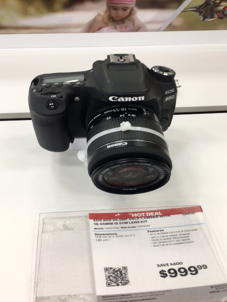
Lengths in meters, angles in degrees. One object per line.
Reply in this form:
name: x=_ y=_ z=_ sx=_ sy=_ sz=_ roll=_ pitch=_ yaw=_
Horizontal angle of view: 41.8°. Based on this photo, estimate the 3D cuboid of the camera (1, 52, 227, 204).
camera: x=-0.004 y=-0.028 z=0.299 sx=0.166 sy=0.095 sz=0.130 roll=-3 pitch=45 yaw=-4
